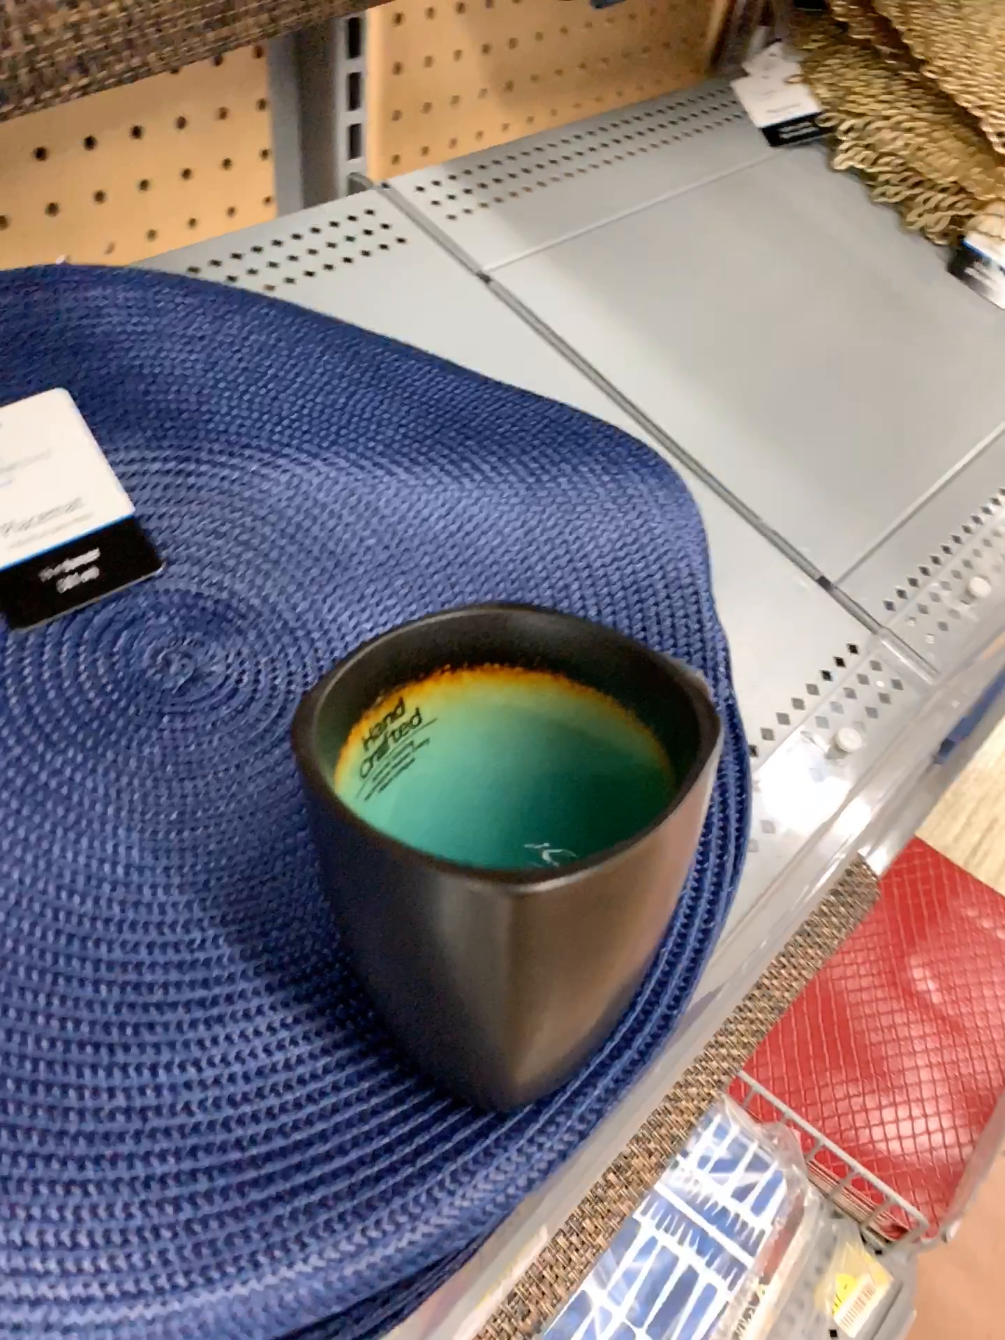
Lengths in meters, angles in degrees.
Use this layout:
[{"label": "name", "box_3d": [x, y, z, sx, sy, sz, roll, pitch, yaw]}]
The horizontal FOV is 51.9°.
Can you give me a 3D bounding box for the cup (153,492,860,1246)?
[{"label": "cup", "box_3d": [0.003, 0.043, 0.264, 0.130, 0.110, 0.090, -31, 51, -32]}]
